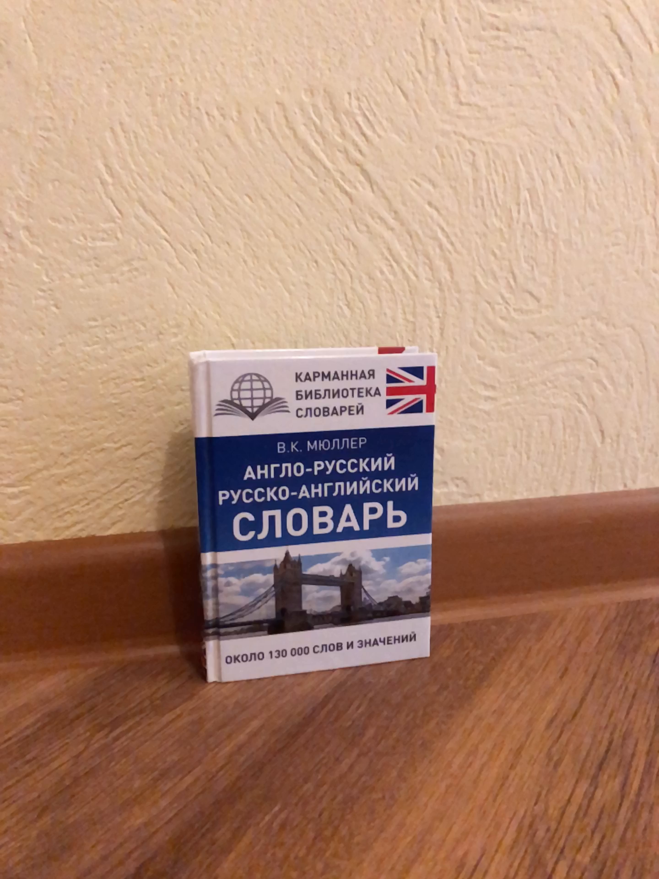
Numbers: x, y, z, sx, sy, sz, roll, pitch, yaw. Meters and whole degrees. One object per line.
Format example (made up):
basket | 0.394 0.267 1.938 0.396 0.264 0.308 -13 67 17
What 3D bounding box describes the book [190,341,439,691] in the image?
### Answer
book | -0.008 0.033 0.331 0.102 0.146 0.037 -3 15 -12
